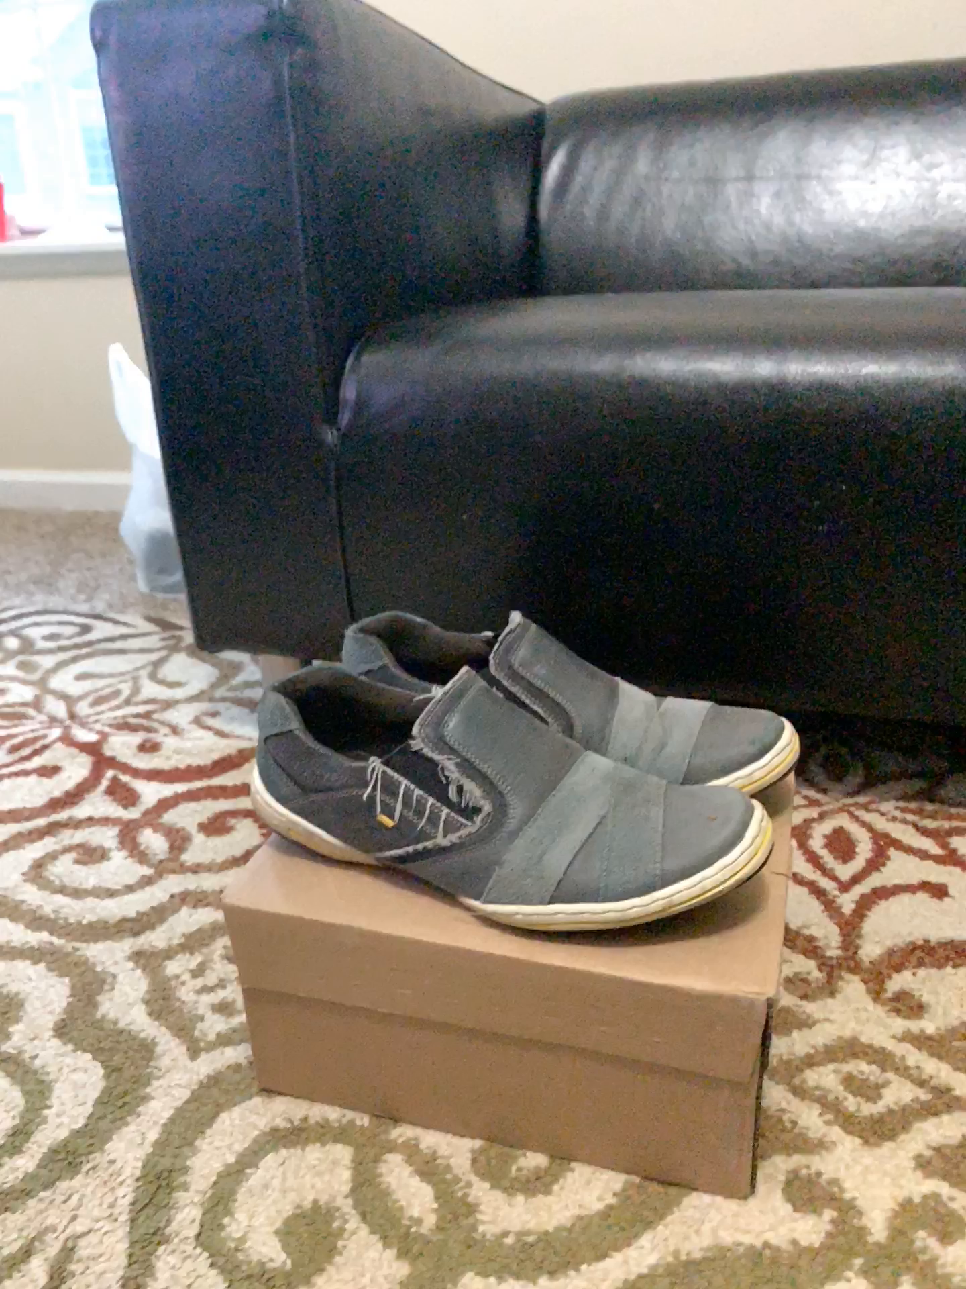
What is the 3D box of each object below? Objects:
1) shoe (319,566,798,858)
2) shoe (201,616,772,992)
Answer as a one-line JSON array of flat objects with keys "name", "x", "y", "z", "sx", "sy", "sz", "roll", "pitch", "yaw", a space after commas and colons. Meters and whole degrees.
[{"name": "shoe", "x": 0.050, "y": 0.028, "z": 0.624, "sx": 0.260, "sy": 0.100, "sz": 0.140, "roll": 7, "pitch": 23, "yaw": 23}, {"name": "shoe", "x": 0.006, "y": 0.067, "z": 0.529, "sx": 0.260, "sy": 0.100, "sz": 0.140, "roll": 7, "pitch": 23, "yaw": 23}]
